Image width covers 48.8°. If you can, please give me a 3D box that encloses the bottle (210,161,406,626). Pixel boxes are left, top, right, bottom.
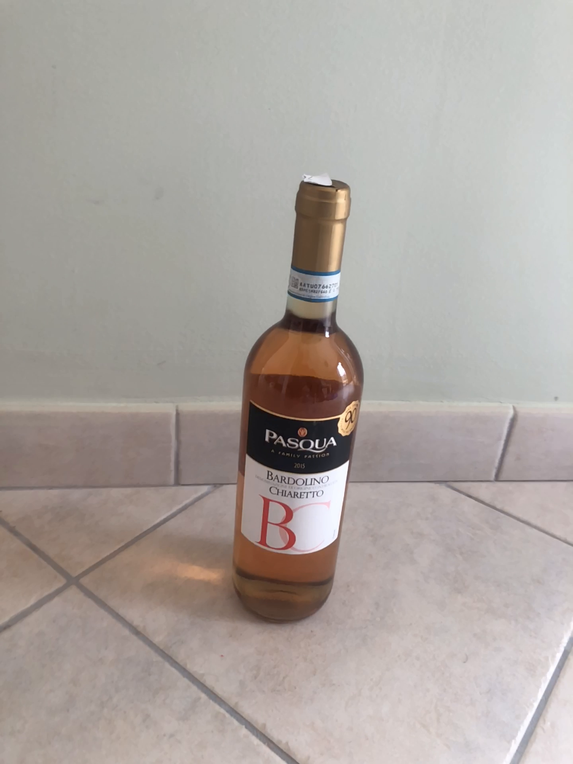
[{"bbox_3d":[0.003,0.018,0.380,0.080,0.268,0.080,4,28,-2],"label":"bottle"}]
